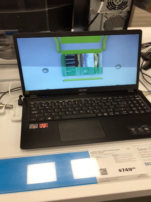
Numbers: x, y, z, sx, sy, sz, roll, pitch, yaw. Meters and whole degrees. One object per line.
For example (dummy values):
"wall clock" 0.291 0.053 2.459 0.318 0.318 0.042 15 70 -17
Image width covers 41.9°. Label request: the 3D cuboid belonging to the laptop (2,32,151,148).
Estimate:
"laptop" 0.036 -0.052 0.547 0.387 0.192 0.288 -5 39 -8
